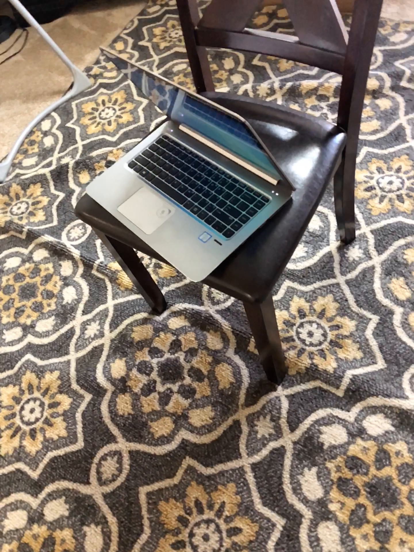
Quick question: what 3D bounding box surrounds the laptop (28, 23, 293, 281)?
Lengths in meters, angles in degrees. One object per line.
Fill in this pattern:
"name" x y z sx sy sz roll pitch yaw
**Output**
"laptop" -0.066 -0.199 0.709 0.211 0.194 0.323 -43 59 -13
